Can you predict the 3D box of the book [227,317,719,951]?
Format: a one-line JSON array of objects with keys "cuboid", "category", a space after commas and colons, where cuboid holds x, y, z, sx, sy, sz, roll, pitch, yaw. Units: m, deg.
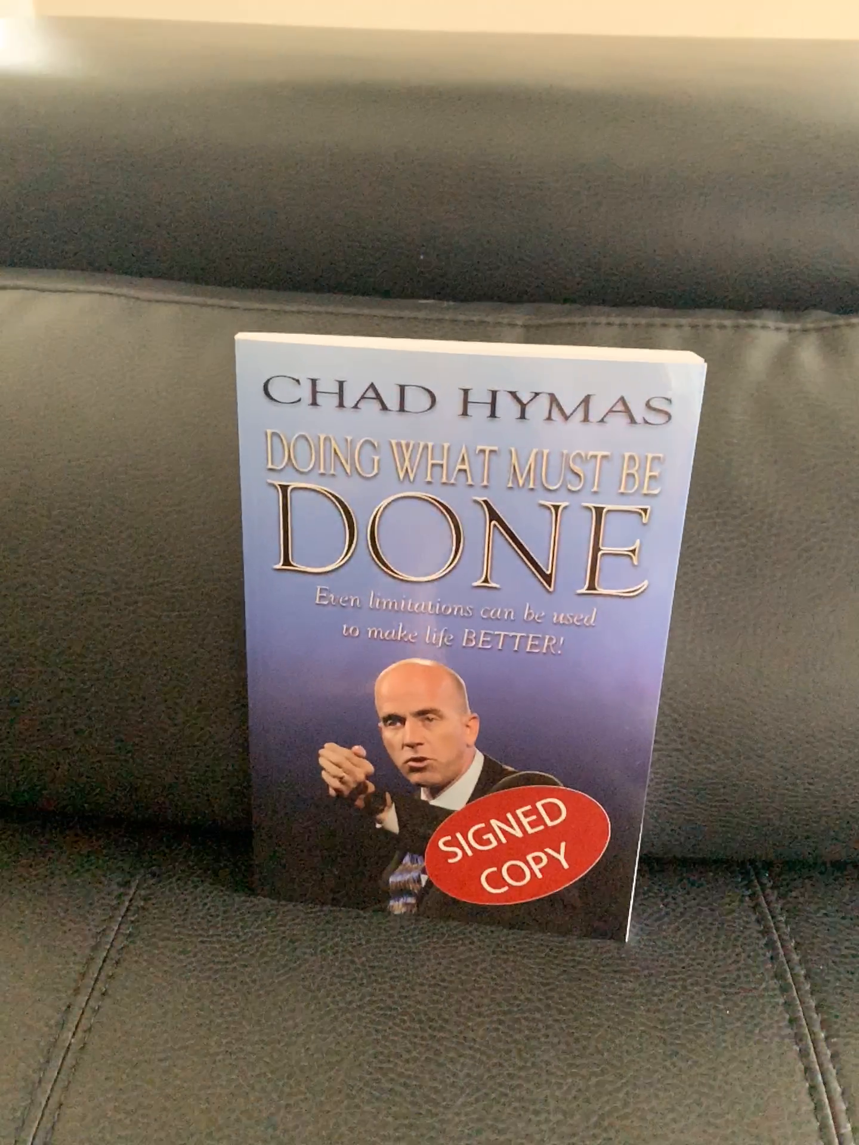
[{"cuboid": [0.007, 0.028, 0.329, 0.156, 0.225, 0.025, 6, 19, 7], "category": "book"}]
